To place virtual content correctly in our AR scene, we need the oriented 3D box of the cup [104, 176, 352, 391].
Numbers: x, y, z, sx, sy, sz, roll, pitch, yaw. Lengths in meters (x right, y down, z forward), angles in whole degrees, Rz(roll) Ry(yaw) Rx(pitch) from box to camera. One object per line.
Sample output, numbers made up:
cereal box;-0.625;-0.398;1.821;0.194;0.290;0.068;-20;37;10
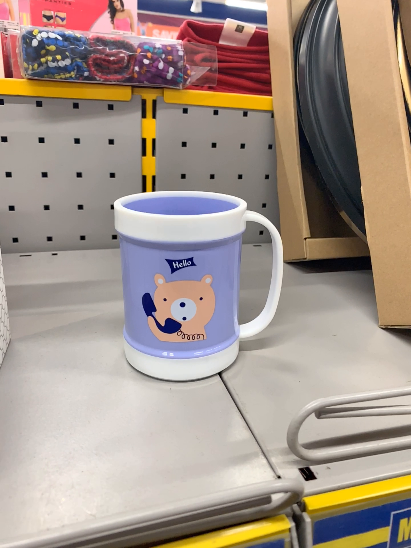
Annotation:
cup;0.004;-0.001;0.260;0.120;0.100;0.090;0;20;-9
